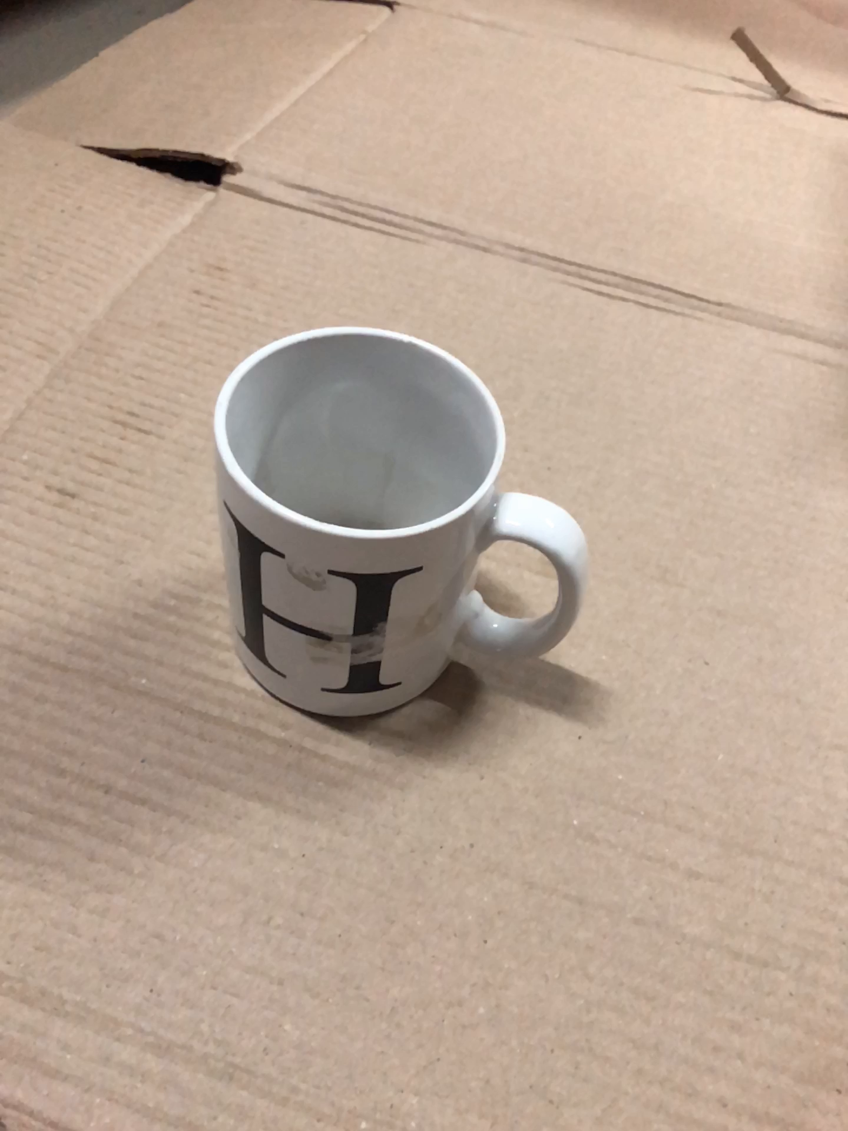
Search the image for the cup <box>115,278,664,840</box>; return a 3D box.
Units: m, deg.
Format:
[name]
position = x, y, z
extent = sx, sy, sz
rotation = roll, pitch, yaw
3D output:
[cup]
position = -0.009, -0.002, 0.263
extent = 0.110, 0.099, 0.080
rotation = 19, 48, 9
